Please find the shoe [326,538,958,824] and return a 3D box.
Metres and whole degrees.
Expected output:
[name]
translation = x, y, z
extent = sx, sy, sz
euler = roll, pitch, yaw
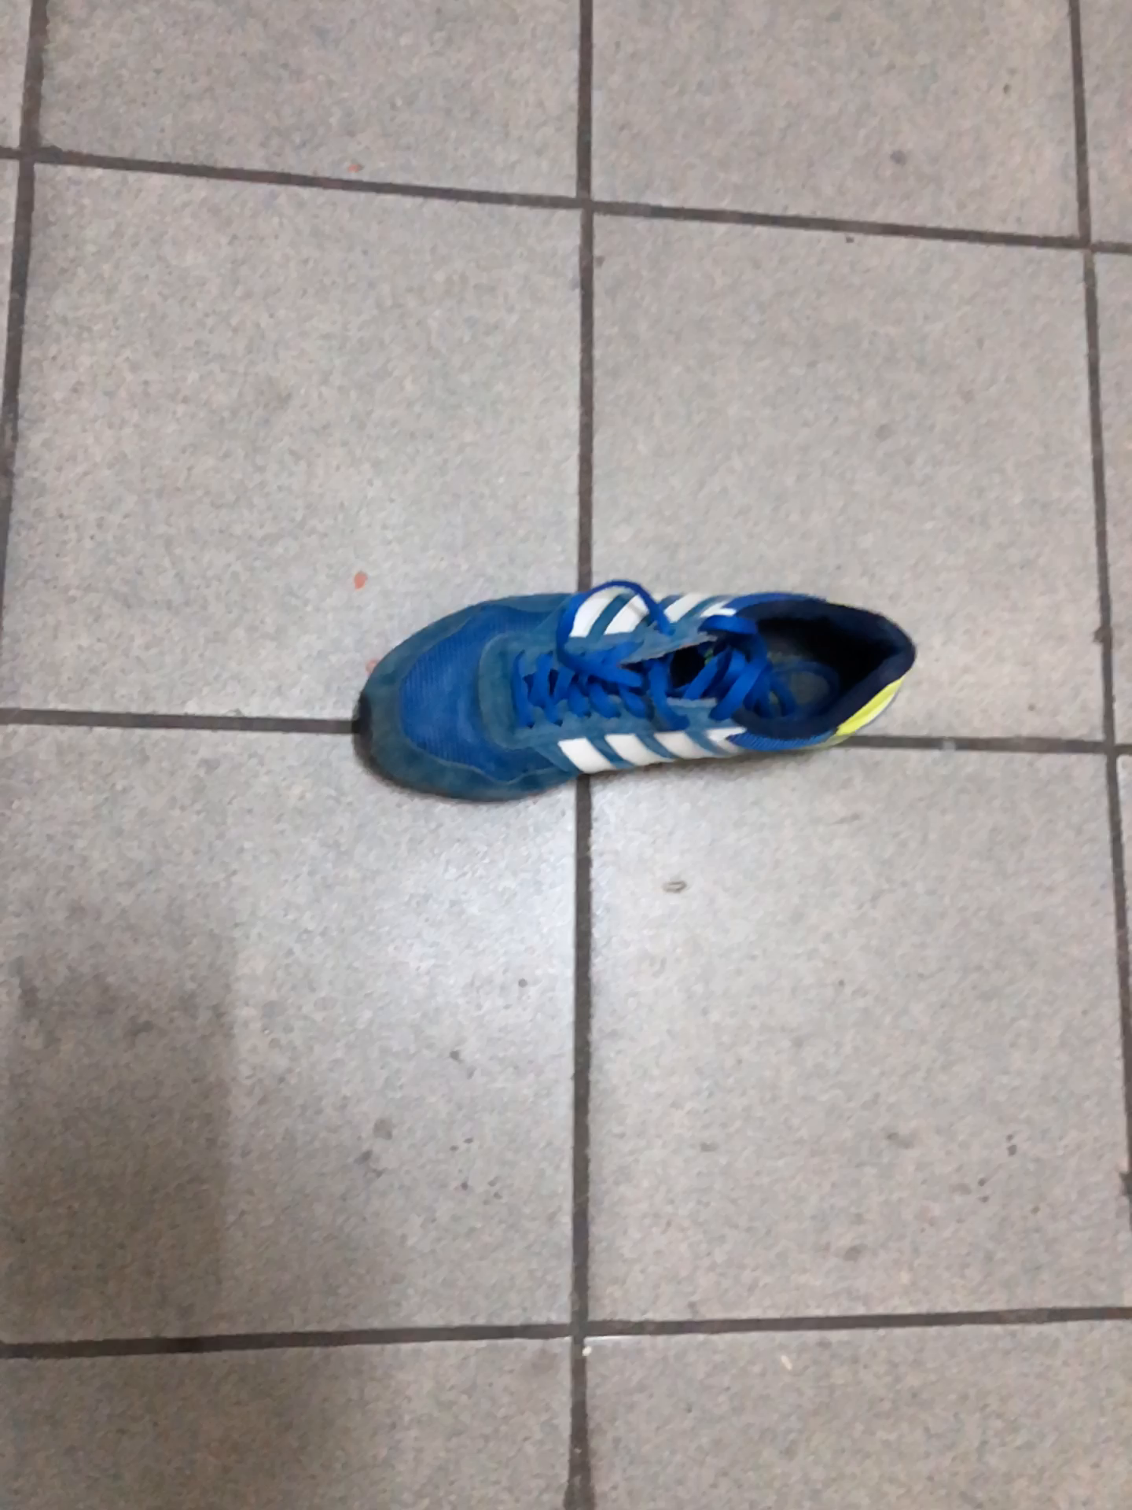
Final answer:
[shoe]
translation = 0.032, -0.035, 0.632
extent = 0.292, 0.100, 0.110
euler = -4, 83, -8
